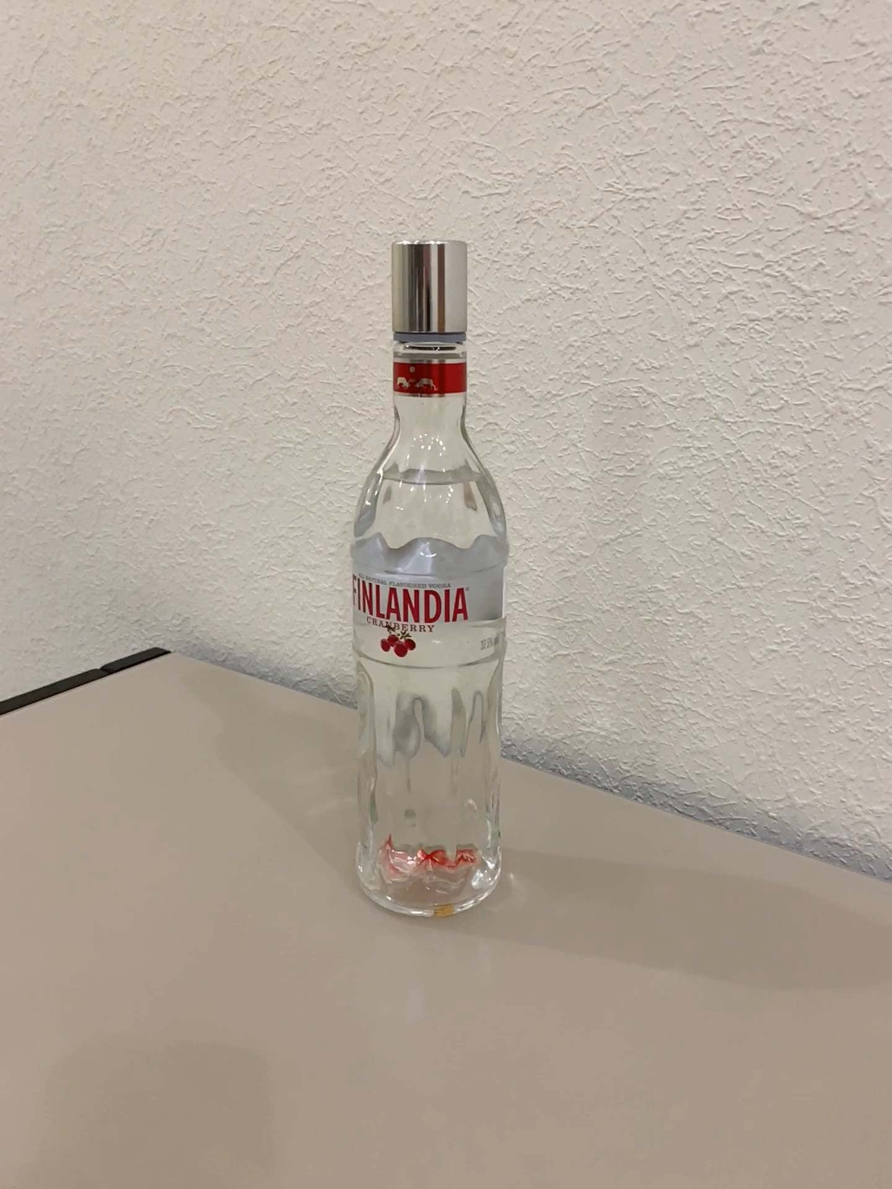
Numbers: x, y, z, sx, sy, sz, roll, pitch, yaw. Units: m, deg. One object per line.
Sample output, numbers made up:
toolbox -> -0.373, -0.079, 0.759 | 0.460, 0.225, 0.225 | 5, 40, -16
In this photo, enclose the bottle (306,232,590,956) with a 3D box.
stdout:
bottle -> 0.003, -0.001, 0.434 | 0.090, 0.309, 0.090 | 0, 17, 0
